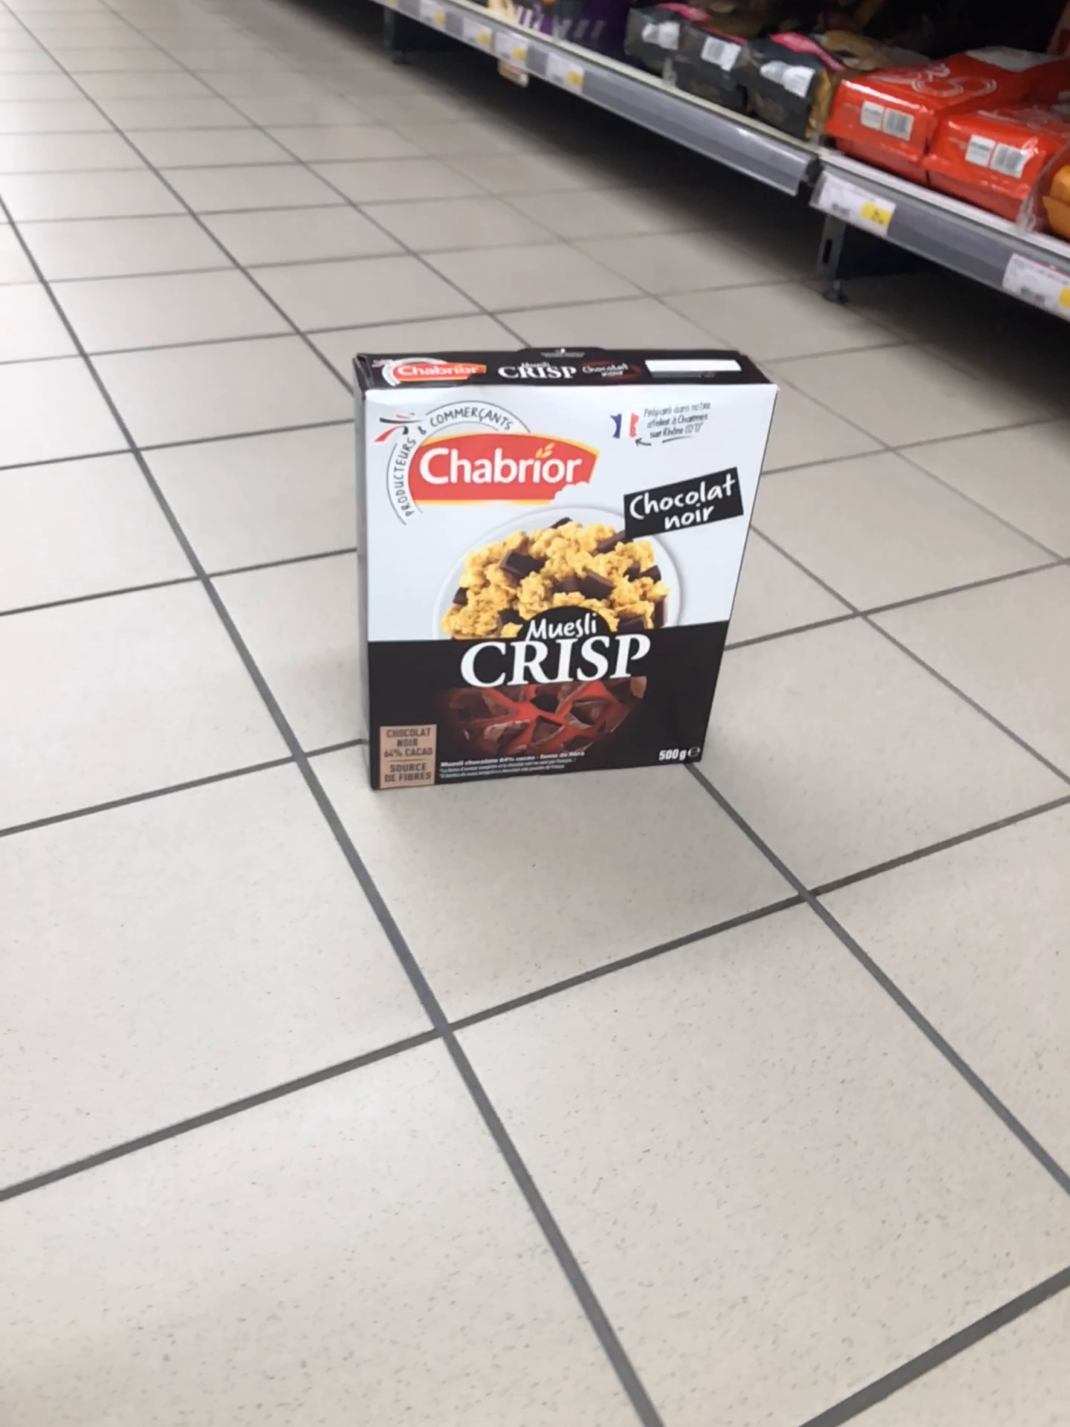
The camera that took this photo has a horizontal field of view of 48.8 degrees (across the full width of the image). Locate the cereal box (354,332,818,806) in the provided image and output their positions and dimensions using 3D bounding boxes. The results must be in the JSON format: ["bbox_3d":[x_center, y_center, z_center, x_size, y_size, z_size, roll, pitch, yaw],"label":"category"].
[{"bbox_3d":[0.014,-0.068,0.596,0.200,0.229,0.060,-5,38,-13],"label":"cereal box"}]
